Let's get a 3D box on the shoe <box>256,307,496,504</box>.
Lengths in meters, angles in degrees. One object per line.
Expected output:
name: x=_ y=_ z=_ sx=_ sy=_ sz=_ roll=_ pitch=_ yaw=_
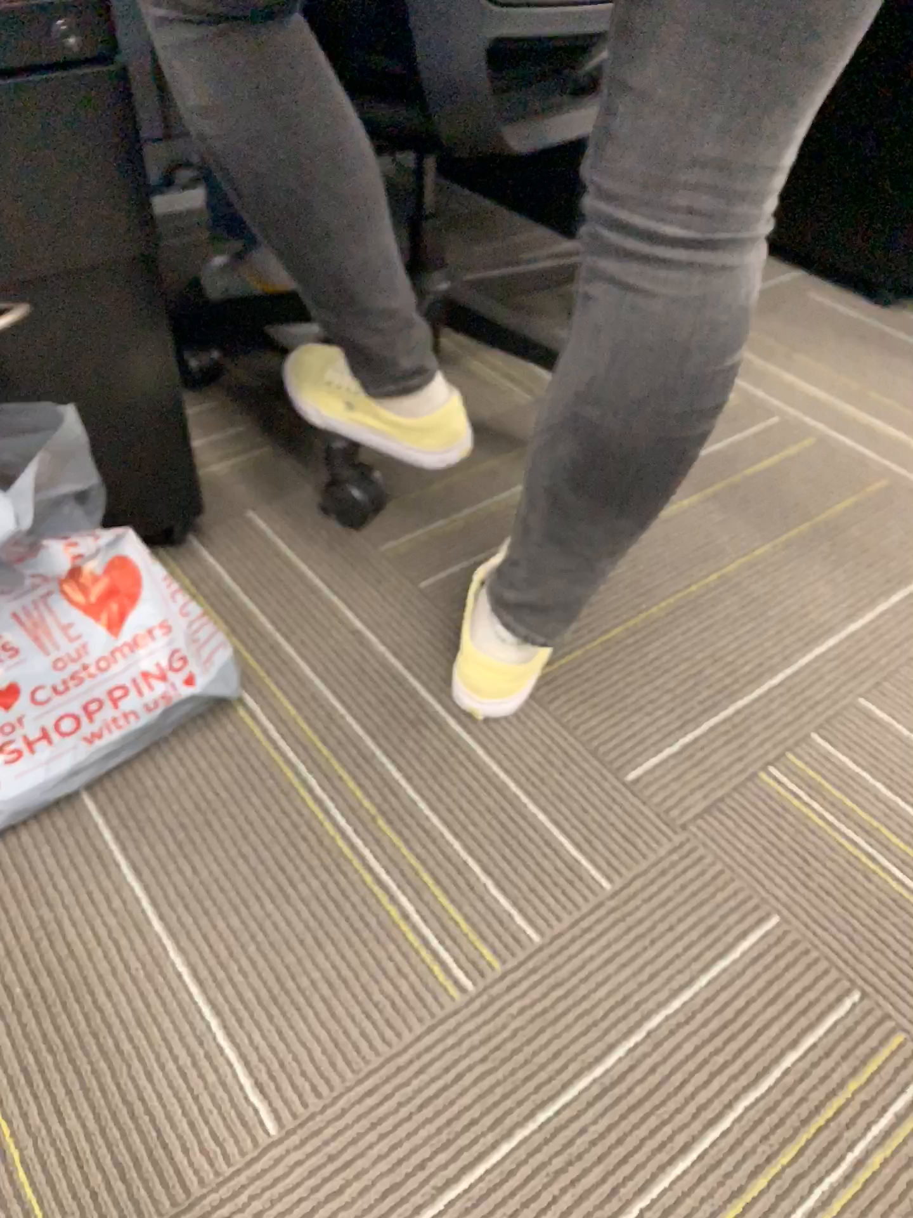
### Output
shoe: x=-0.091 y=-0.228 z=1.040 sx=0.260 sy=0.096 sz=0.098 roll=31 pitch=50 yaw=28

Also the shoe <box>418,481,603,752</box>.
shoe: x=0.058 y=-0.003 z=0.949 sx=0.102 sy=0.101 sz=0.269 roll=15 pitch=44 yaw=13
